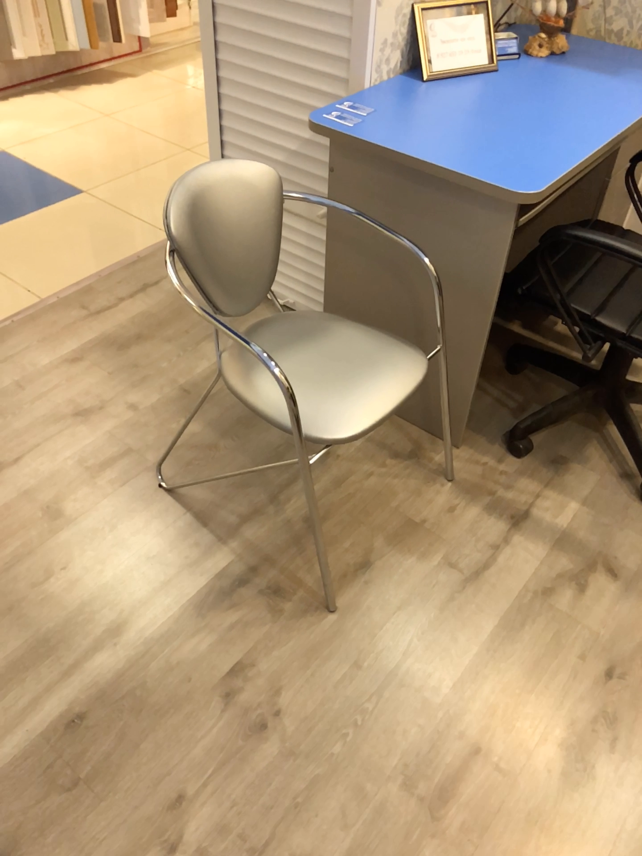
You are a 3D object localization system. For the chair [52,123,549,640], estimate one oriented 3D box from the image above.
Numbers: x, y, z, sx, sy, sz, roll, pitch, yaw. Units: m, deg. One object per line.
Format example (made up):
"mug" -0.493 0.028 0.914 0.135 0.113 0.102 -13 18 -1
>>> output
"chair" -0.043 -0.135 1.612 0.731 0.746 0.612 29 50 25
